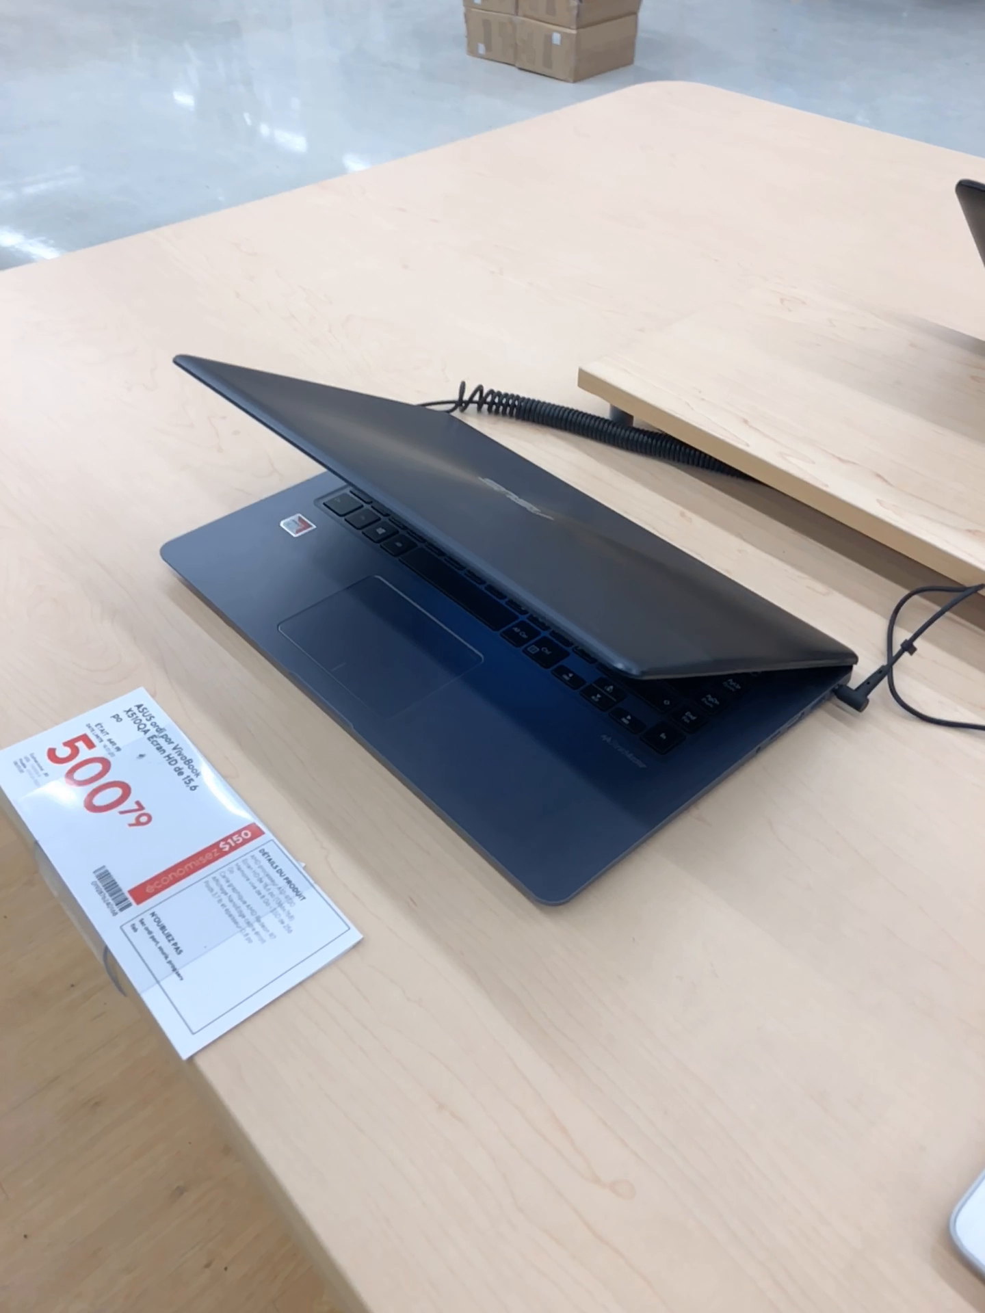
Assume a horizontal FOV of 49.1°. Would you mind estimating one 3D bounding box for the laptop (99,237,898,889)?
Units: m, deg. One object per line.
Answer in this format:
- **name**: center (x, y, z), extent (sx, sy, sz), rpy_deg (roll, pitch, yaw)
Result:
- **laptop**: center (-0.008, -0.083, 0.600), extent (0.232, 0.136, 0.346), rpy_deg (-32, 52, -30)
